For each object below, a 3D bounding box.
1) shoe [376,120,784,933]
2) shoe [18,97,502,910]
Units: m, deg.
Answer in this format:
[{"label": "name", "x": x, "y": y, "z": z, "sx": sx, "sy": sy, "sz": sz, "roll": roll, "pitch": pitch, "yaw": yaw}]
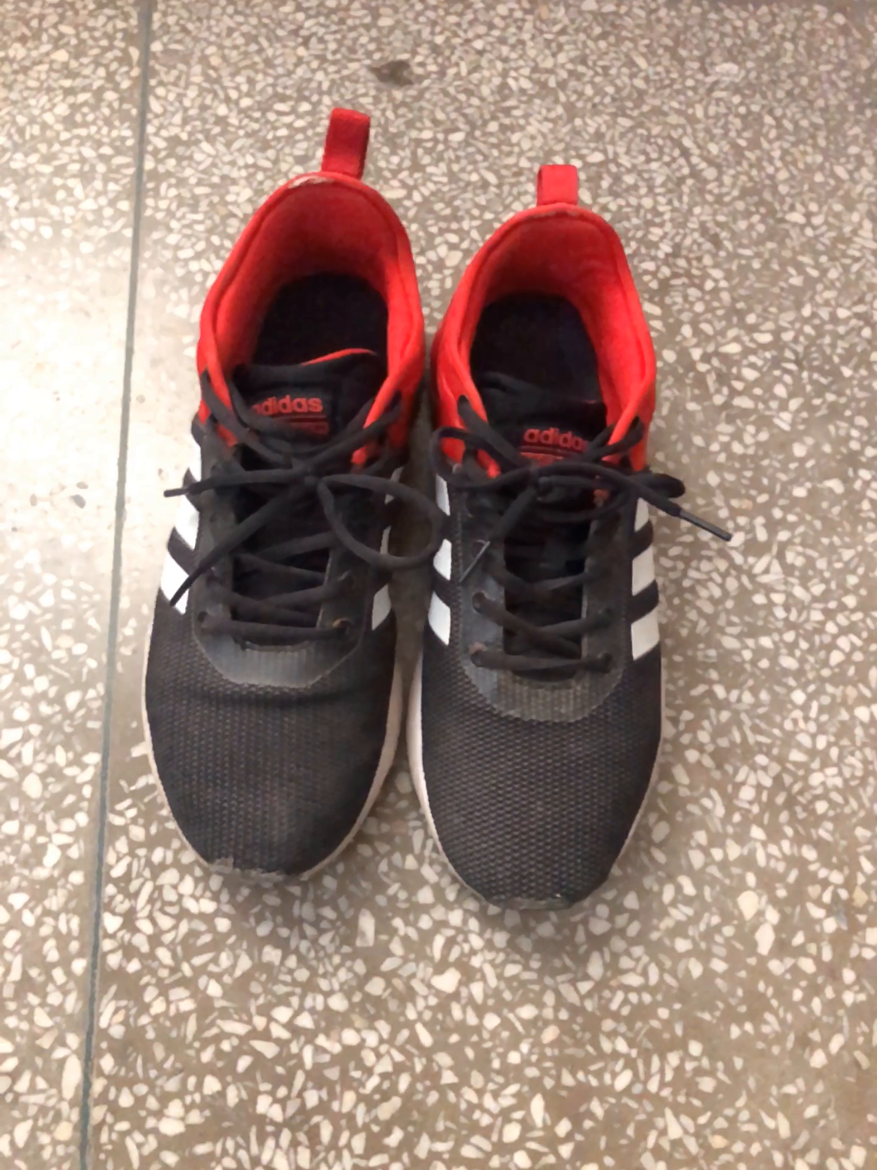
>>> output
[{"label": "shoe", "x": 0.052, "y": -0.022, "z": 0.432, "sx": 0.130, "sy": 0.140, "sz": 0.320, "roll": 5, "pitch": 69, "yaw": -2}, {"label": "shoe", "x": -0.055, "y": -0.031, "z": 0.424, "sx": 0.130, "sy": 0.140, "sz": 0.310, "roll": 6, "pitch": 69, "yaw": -1}]
